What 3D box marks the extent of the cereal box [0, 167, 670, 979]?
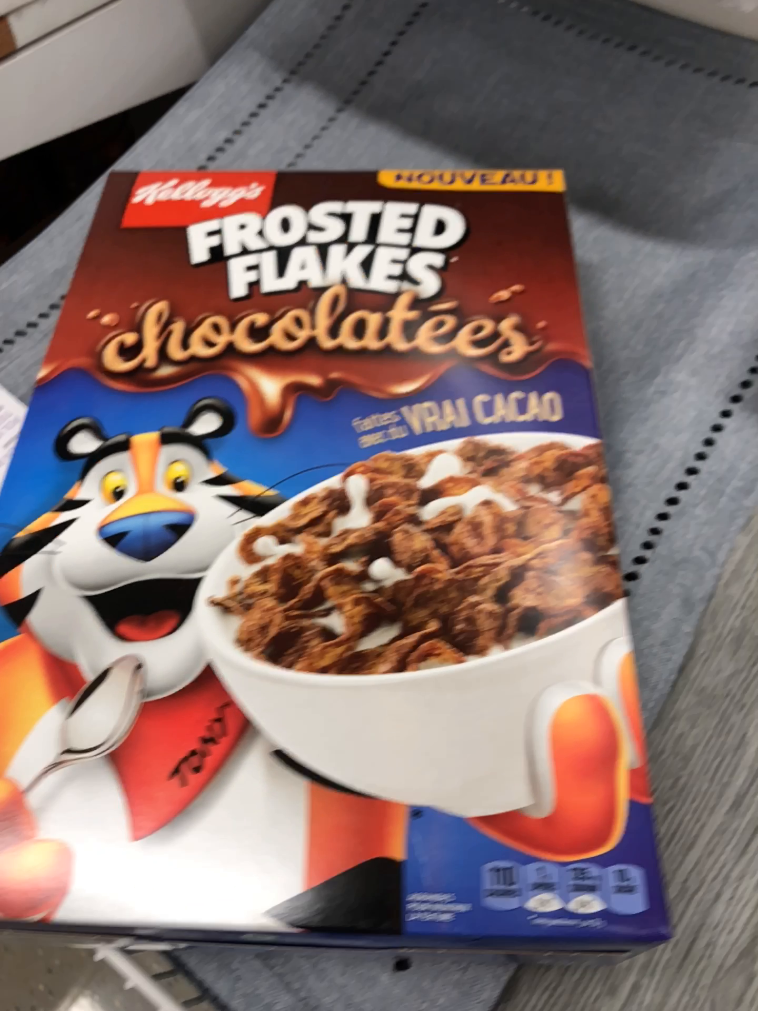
[{"bbox_3d":[-0.030,-0.004,0.323,0.210,0.070,0.311,1,55,2],"label":"cereal box"}]
